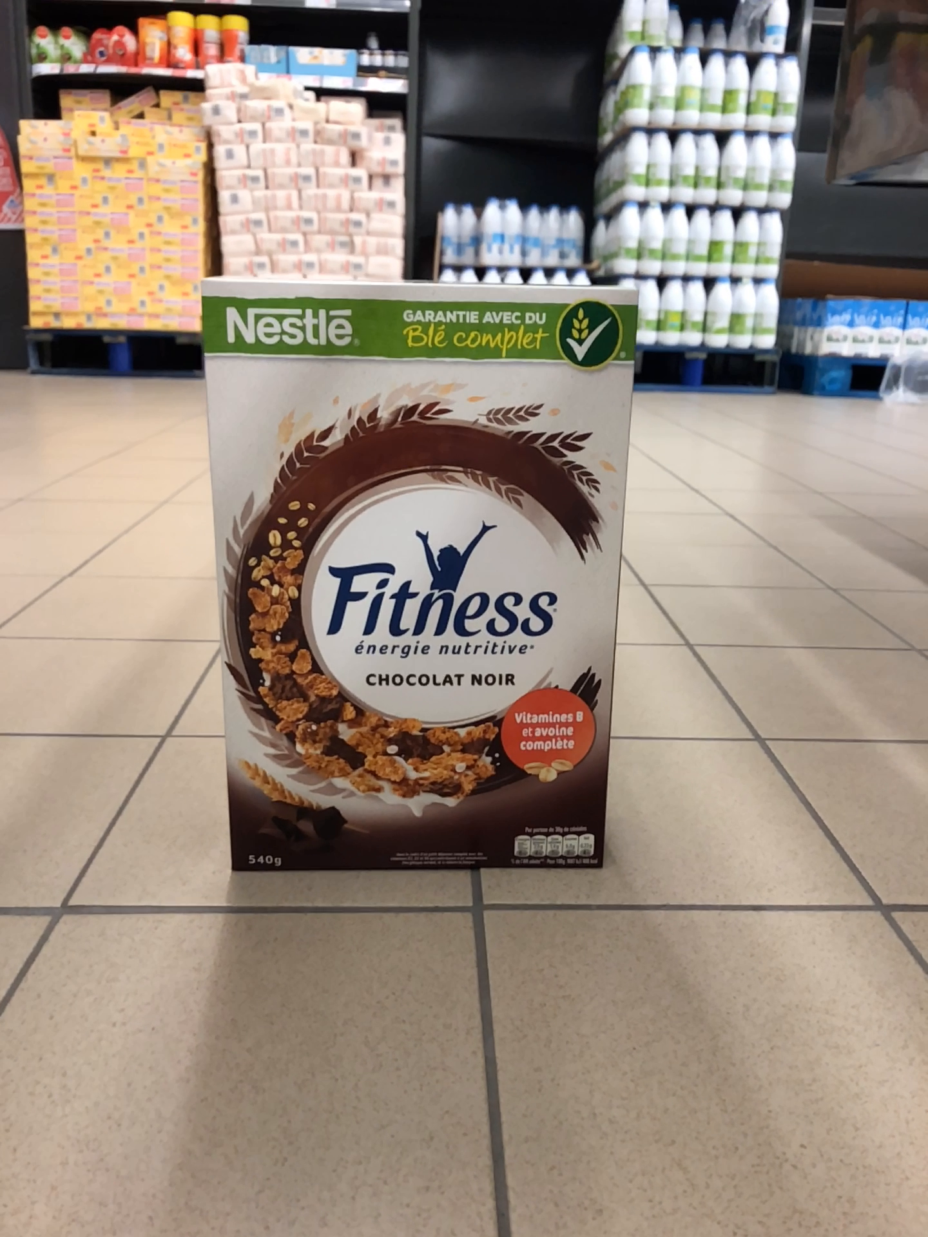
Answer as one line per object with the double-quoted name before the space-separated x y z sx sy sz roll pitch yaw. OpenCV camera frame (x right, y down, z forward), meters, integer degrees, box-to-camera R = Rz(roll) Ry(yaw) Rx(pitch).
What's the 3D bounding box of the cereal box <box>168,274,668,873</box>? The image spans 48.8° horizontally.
"cereal box" -0.020 -0.021 0.506 0.210 0.279 0.080 0 15 -2
